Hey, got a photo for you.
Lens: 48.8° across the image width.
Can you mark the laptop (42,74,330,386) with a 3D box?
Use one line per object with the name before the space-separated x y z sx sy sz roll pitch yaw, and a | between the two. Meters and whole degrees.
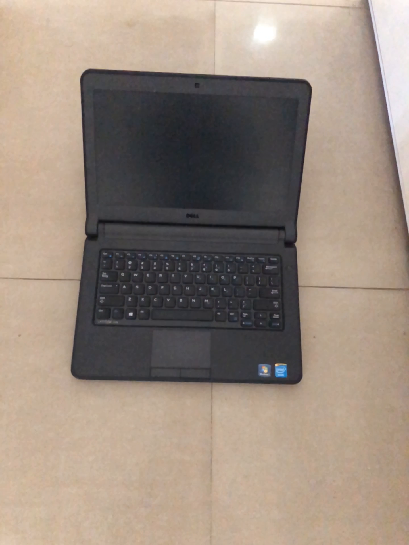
laptop | -0.016 -0.056 0.627 0.312 0.154 0.393 2 70 -1
